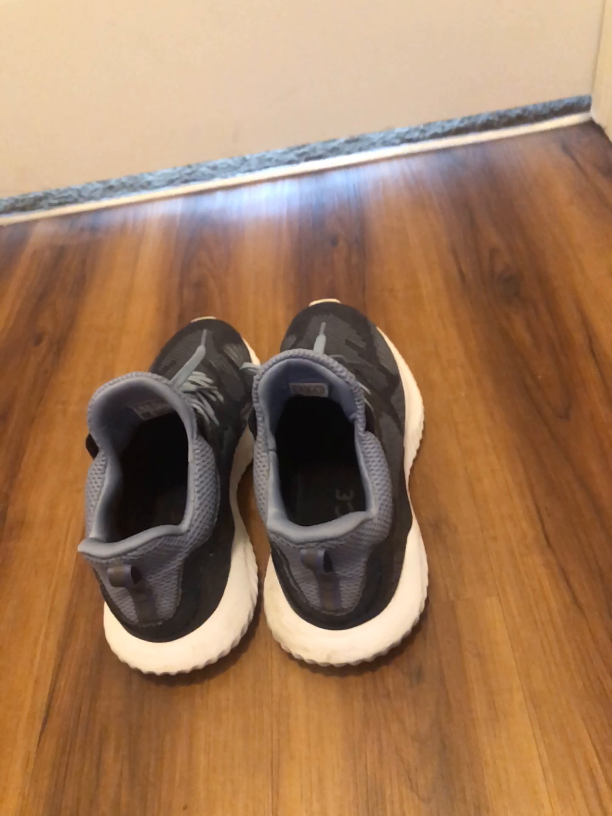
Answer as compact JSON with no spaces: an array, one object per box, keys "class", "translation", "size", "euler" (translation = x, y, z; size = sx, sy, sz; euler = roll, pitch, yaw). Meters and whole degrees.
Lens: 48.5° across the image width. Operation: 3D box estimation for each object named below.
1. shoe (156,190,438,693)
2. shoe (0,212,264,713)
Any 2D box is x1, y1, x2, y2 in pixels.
[{"class":"shoe","translation":[0.009,0.004,0.476],"size":[0.131,0.130,0.335],"euler":[-5,48,8]},{"class":"shoe","translation":[-0.110,0.019,0.491],"size":[0.133,0.135,0.334],"euler":[-8,48,6]}]
